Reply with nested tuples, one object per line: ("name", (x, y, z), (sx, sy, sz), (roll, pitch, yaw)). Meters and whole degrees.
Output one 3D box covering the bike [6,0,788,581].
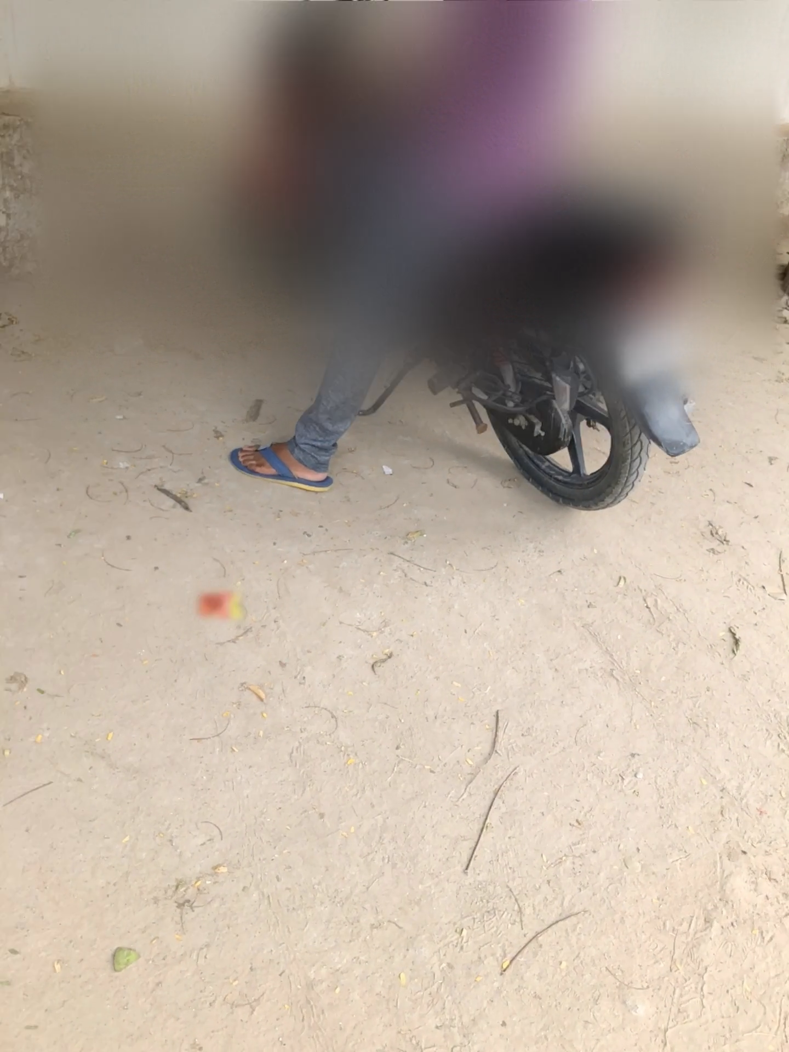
("bike", (-0.096, -0.919, 2.158), (0.744, 1.085, 1.701), (-25, 49, -39))
